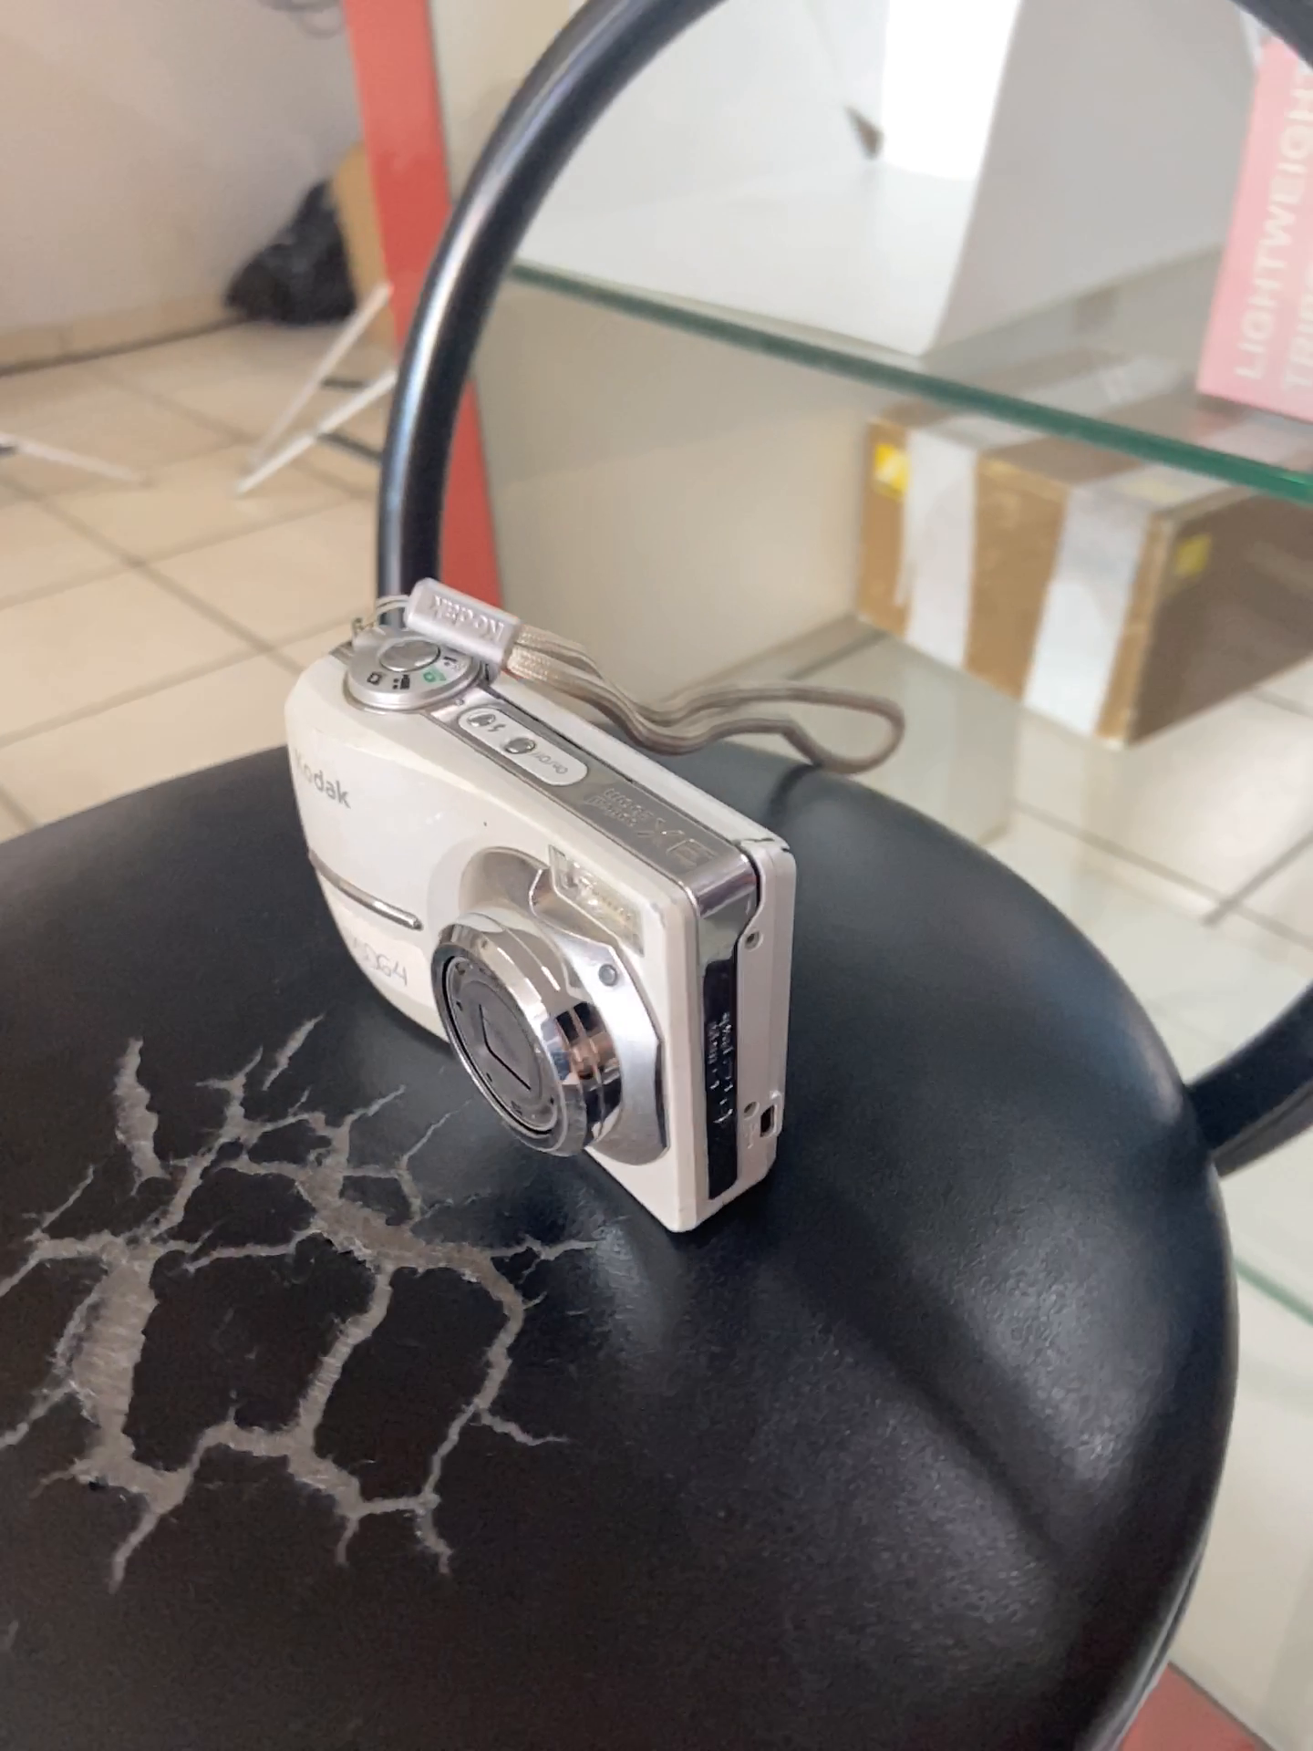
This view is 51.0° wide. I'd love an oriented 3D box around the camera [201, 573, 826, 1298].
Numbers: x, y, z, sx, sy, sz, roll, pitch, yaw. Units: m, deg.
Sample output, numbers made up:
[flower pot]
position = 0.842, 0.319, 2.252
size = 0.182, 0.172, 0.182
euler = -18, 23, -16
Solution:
[camera]
position = -0.022, 0.005, 0.212
size = 0.040, 0.070, 0.090
euler = -30, 44, -33
